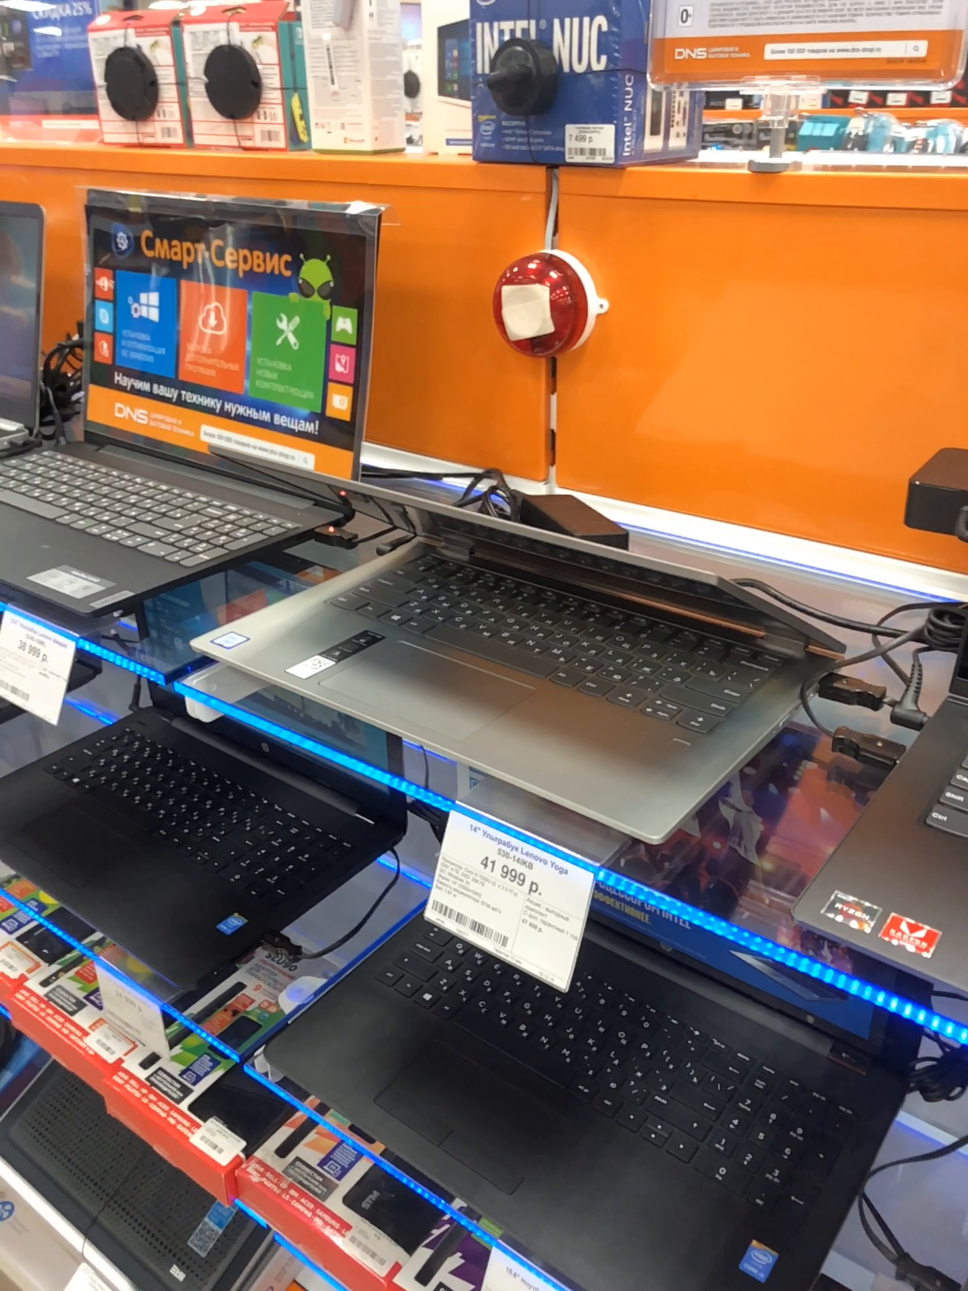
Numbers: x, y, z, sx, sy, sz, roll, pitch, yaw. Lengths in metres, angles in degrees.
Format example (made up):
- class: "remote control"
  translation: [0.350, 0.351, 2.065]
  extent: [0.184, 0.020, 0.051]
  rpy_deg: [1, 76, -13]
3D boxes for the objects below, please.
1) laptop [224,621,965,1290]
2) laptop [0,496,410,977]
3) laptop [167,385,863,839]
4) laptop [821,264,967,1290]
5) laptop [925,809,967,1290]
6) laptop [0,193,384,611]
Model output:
- class: "laptop"
  translation: [0.063, 0.179, 0.678]
  extent: [0.362, 0.223, 0.260]
  rpy_deg: [19, 33, 34]
- class: "laptop"
  translation: [-0.282, 0.052, 0.918]
  extent: [0.333, 0.222, 0.244]
  rpy_deg: [20, 36, 33]
- class: "laptop"
  translation: [0.013, -0.048, 0.598]
  extent: [0.314, 0.110, 0.210]
  rpy_deg: [19, 33, 34]
- class: "laptop"
  translation: [0.323, 0.009, 0.366]
  extent: [0.328, 0.210, 0.247]
  rpy_deg: [18, 32, 31]
- class: "laptop"
  translation: [0.394, 0.283, 0.437]
  extent: [0.329, 0.228, 0.236]
  rpy_deg: [18, 33, 33]
- class: "laptop"
  translation: [-0.301, -0.211, 0.804]
  extent: [0.329, 0.219, 0.277]
  rpy_deg: [18, 31, 32]
